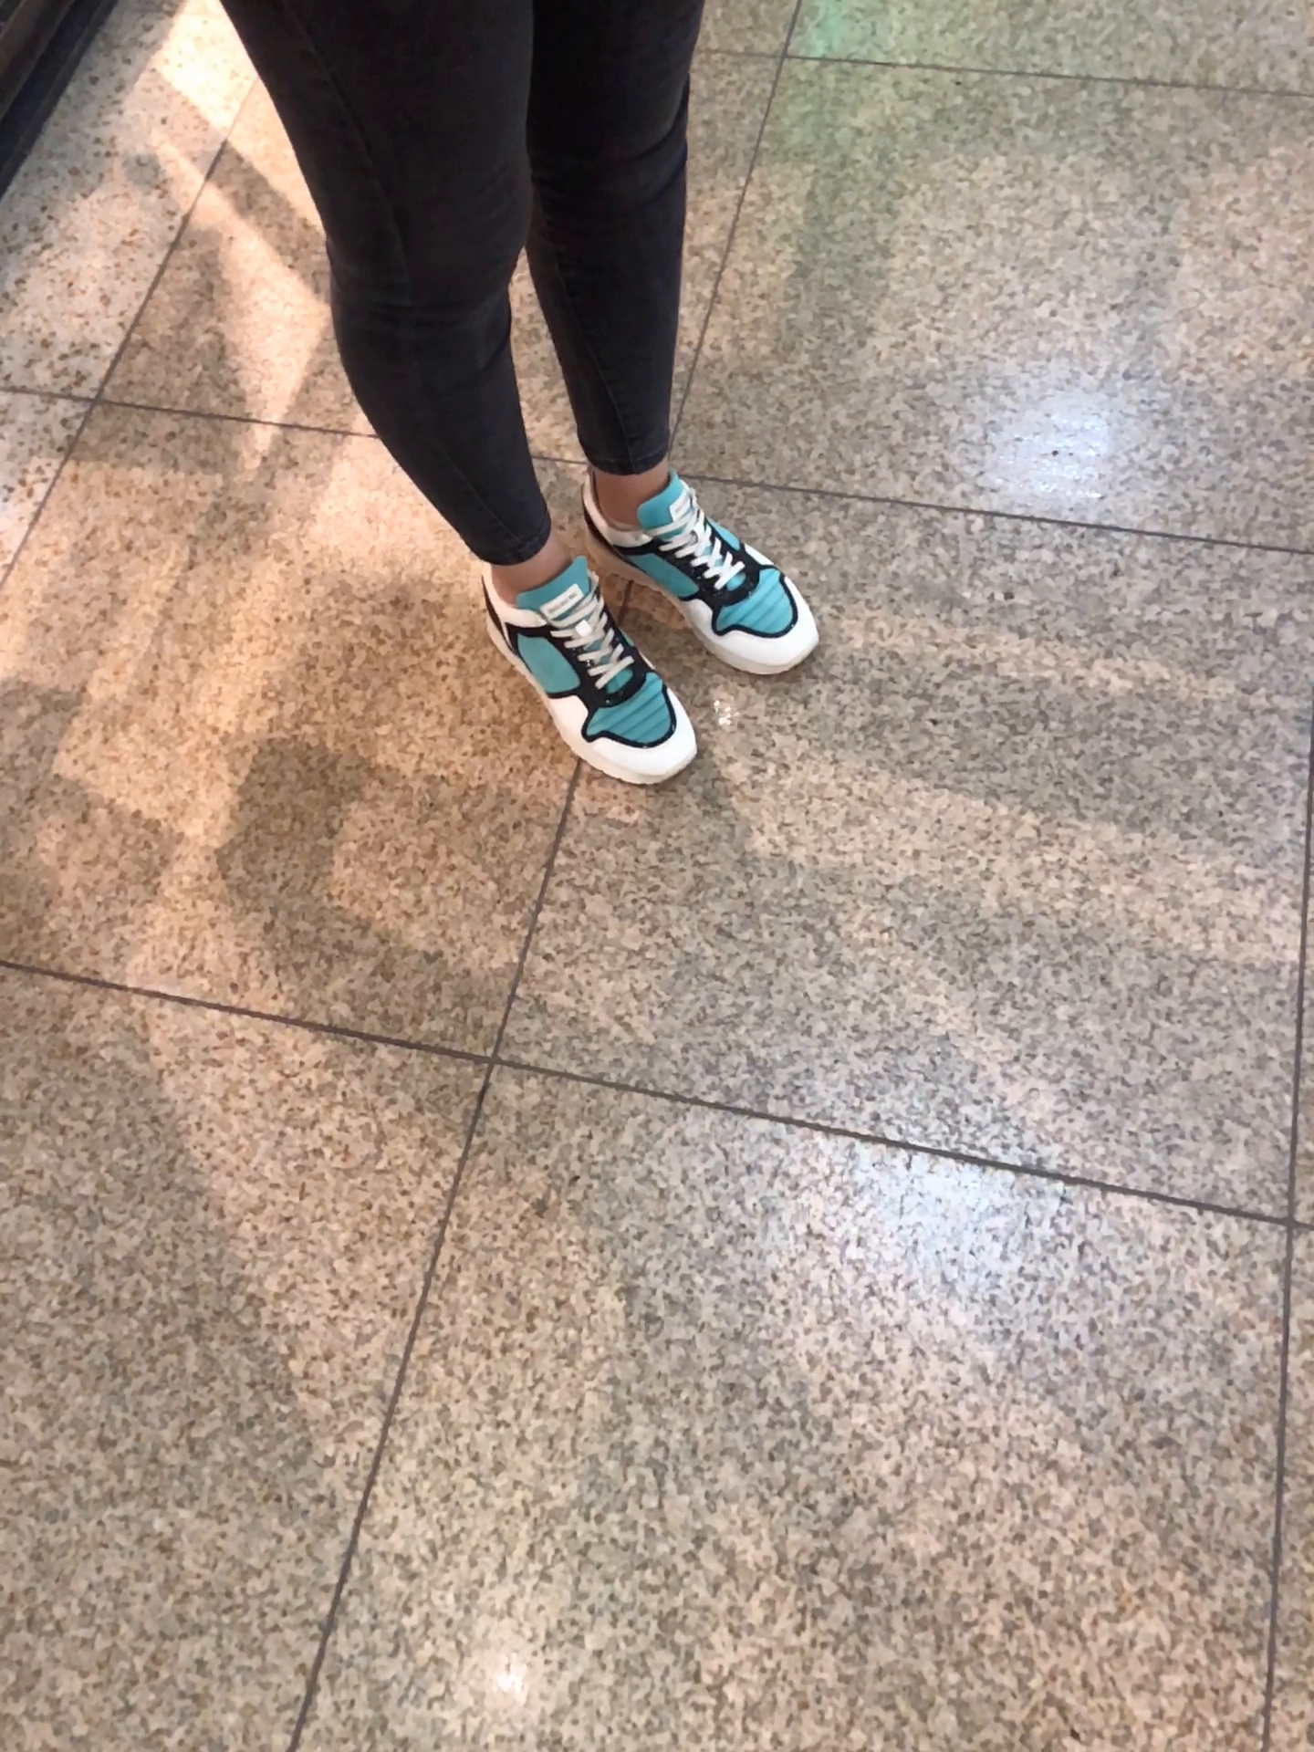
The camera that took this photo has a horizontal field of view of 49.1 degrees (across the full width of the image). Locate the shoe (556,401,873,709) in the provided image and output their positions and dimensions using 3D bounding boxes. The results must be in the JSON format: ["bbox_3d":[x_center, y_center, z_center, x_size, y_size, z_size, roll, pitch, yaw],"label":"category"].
[{"bbox_3d":[0.048,-0.273,1.214,0.250,0.100,0.110,40,74,21],"label":"shoe"}]

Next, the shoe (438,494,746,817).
[{"bbox_3d":[-0.051,-0.180,1.165,0.107,0.100,0.240,-41,67,-13],"label":"shoe"}]
